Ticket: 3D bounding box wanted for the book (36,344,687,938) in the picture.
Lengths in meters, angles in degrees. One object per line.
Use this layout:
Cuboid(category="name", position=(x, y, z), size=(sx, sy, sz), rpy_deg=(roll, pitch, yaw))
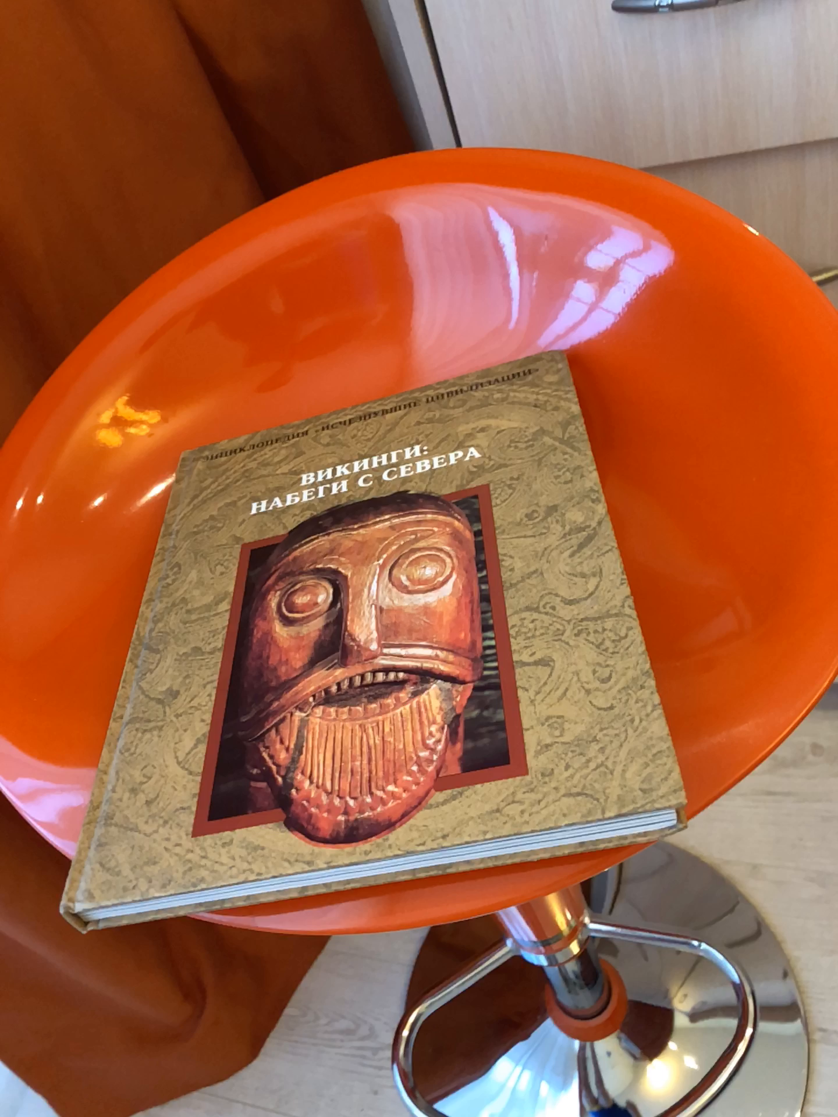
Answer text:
Cuboid(category="book", position=(-0.025, 0.014, 0.395), size=(0.215, 0.022, 0.262), rpy_deg=(-13, 42, 11))
